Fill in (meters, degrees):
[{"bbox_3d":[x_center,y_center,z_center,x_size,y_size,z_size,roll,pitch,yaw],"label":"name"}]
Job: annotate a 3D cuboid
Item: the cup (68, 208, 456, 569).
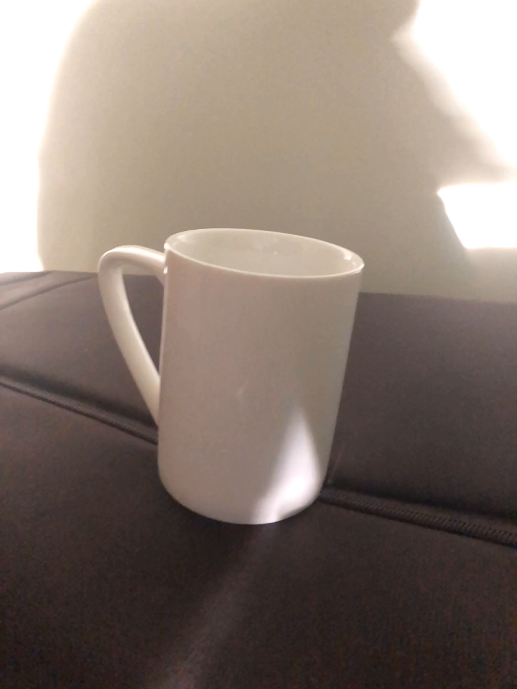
[{"bbox_3d":[-0.002,0.001,0.230,0.109,0.090,0.097,23,25,36],"label":"cup"}]
